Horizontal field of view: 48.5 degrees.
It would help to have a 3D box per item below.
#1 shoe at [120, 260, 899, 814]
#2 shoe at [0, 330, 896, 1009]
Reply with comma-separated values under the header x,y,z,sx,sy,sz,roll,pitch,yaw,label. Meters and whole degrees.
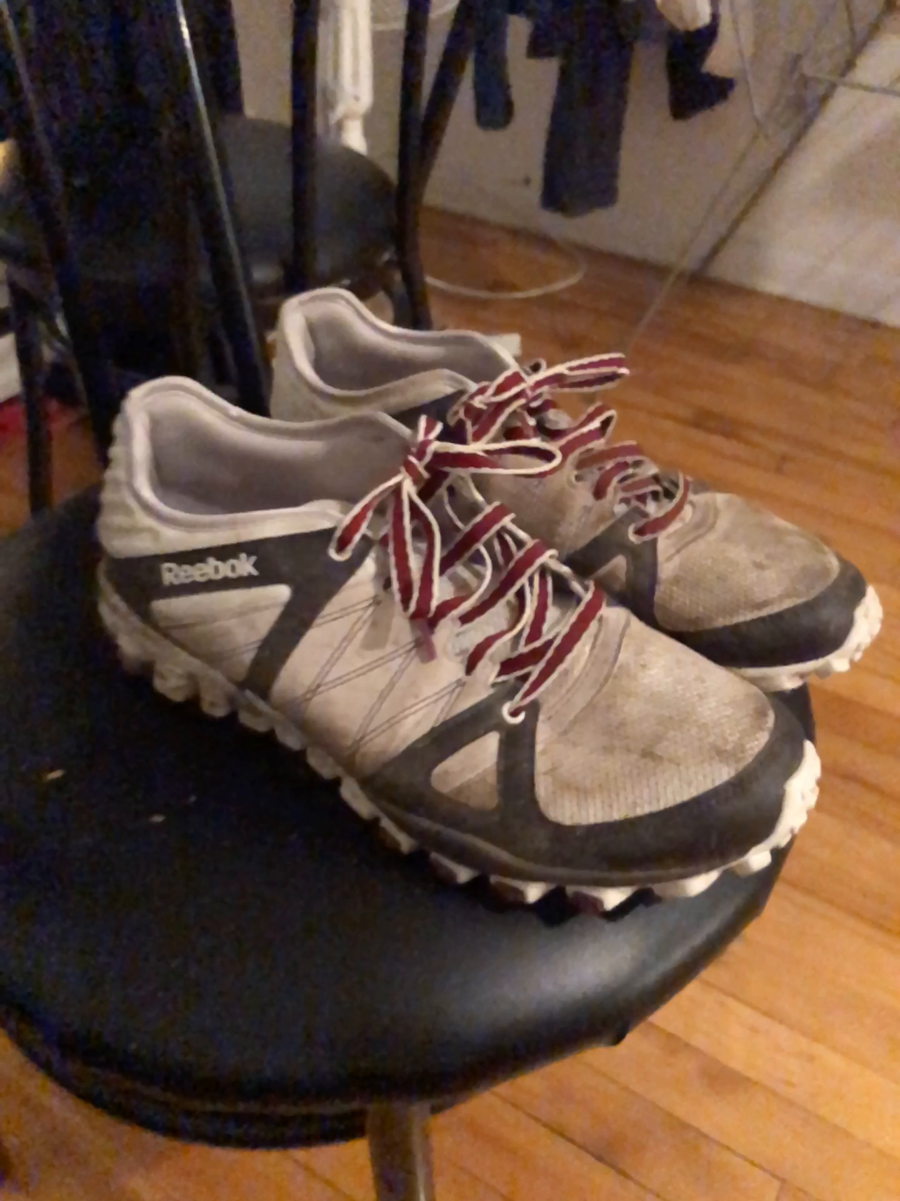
x,y,z,sx,sy,sz,roll,pitch,yaw,label
0.024,-0.046,0.435,0.311,0.099,0.121,22,43,21,shoe
-0.023,0.005,0.363,0.311,0.099,0.101,22,43,21,shoe
